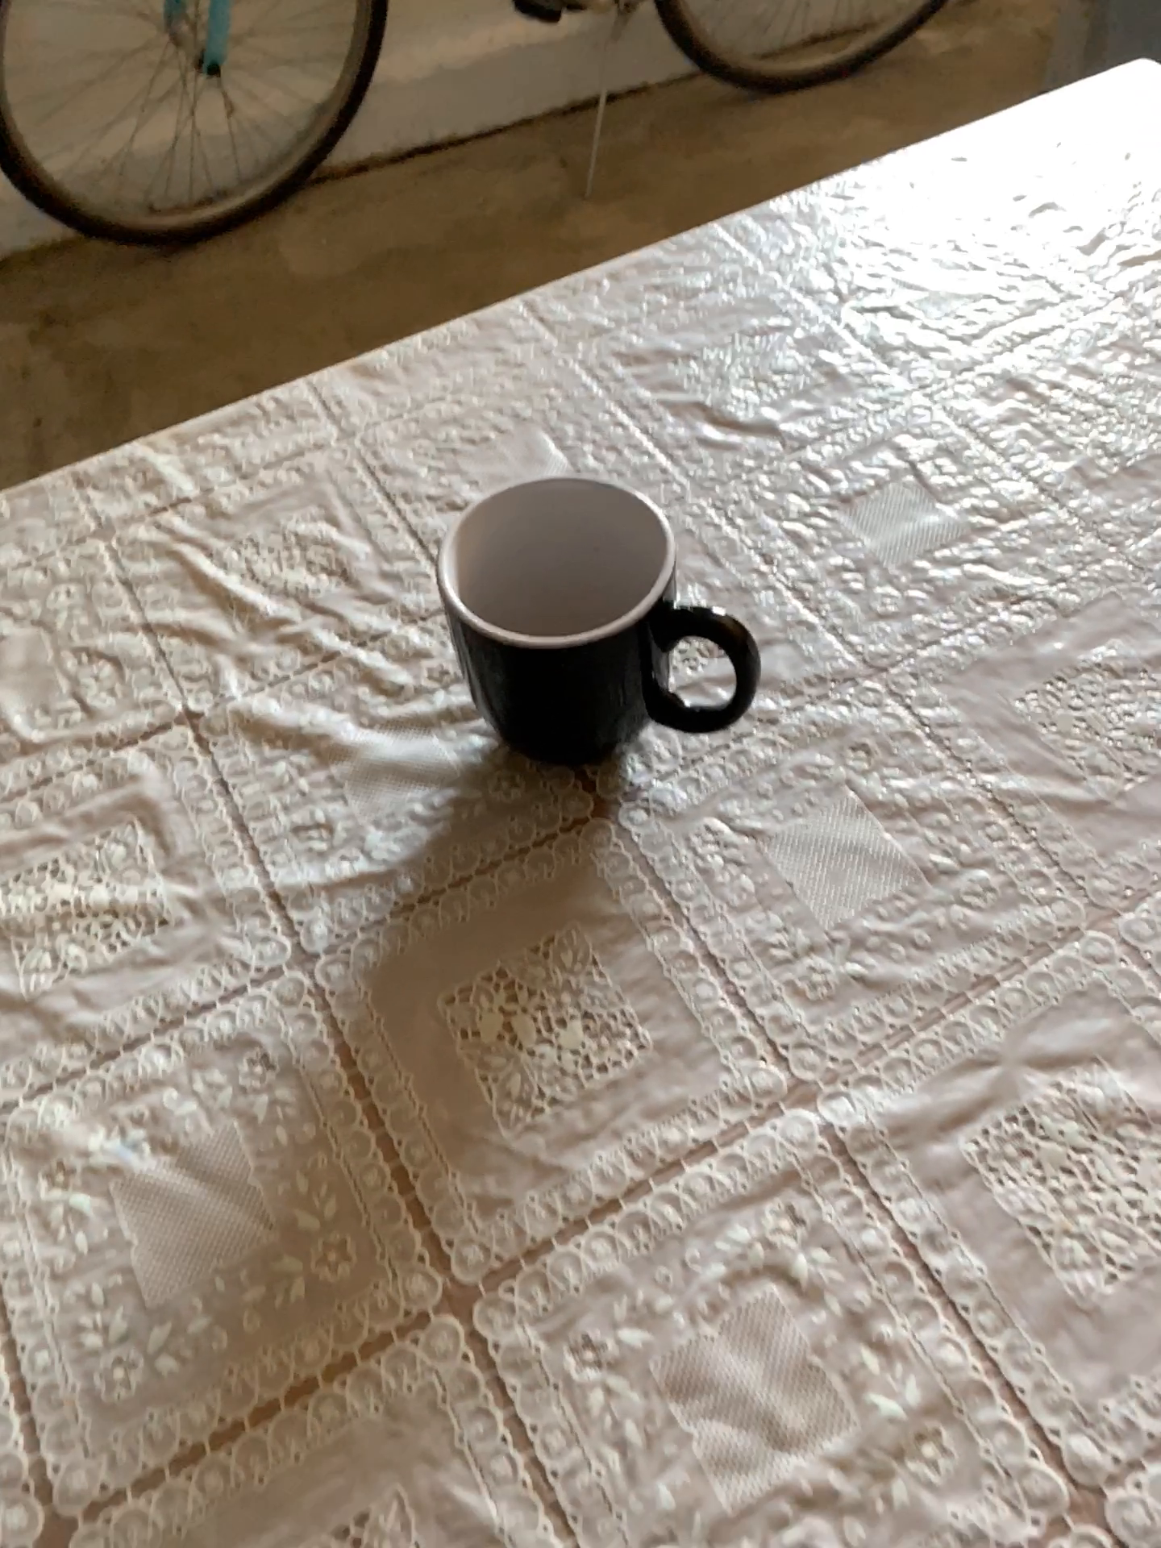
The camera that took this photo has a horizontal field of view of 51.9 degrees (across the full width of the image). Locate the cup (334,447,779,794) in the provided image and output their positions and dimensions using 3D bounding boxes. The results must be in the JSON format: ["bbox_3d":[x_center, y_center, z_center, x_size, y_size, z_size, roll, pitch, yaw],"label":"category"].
[{"bbox_3d":[-0.010,-0.134,1.004,0.320,0.189,0.180,7,43,10],"label":"cup"}]
